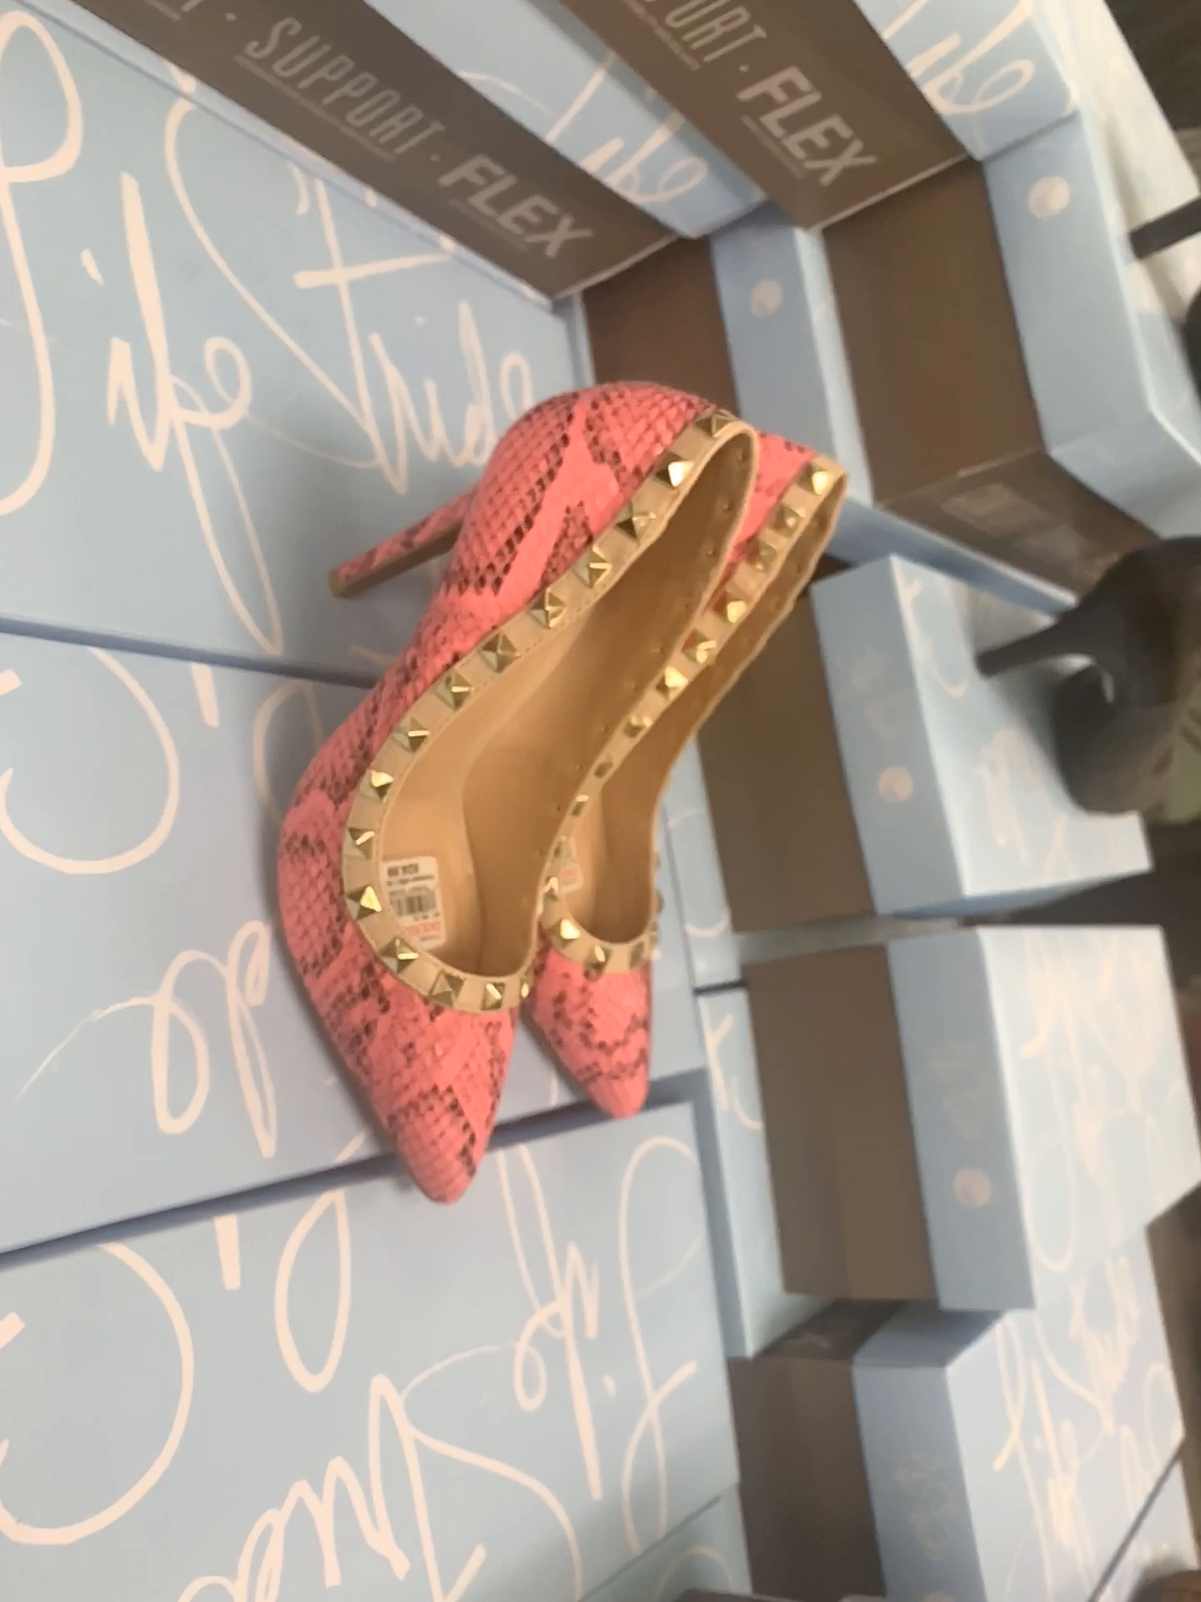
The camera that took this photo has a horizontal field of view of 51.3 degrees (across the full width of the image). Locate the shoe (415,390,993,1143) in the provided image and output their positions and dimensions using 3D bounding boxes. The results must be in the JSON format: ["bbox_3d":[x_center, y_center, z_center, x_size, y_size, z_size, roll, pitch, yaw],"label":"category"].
[{"bbox_3d":[0.029,-0.003,0.398,0.082,0.128,0.195,3,75,-55],"label":"shoe"}]

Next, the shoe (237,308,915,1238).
[{"bbox_3d":[-0.011,0.002,0.333,0.080,0.128,0.199,3,75,-55],"label":"shoe"}]
